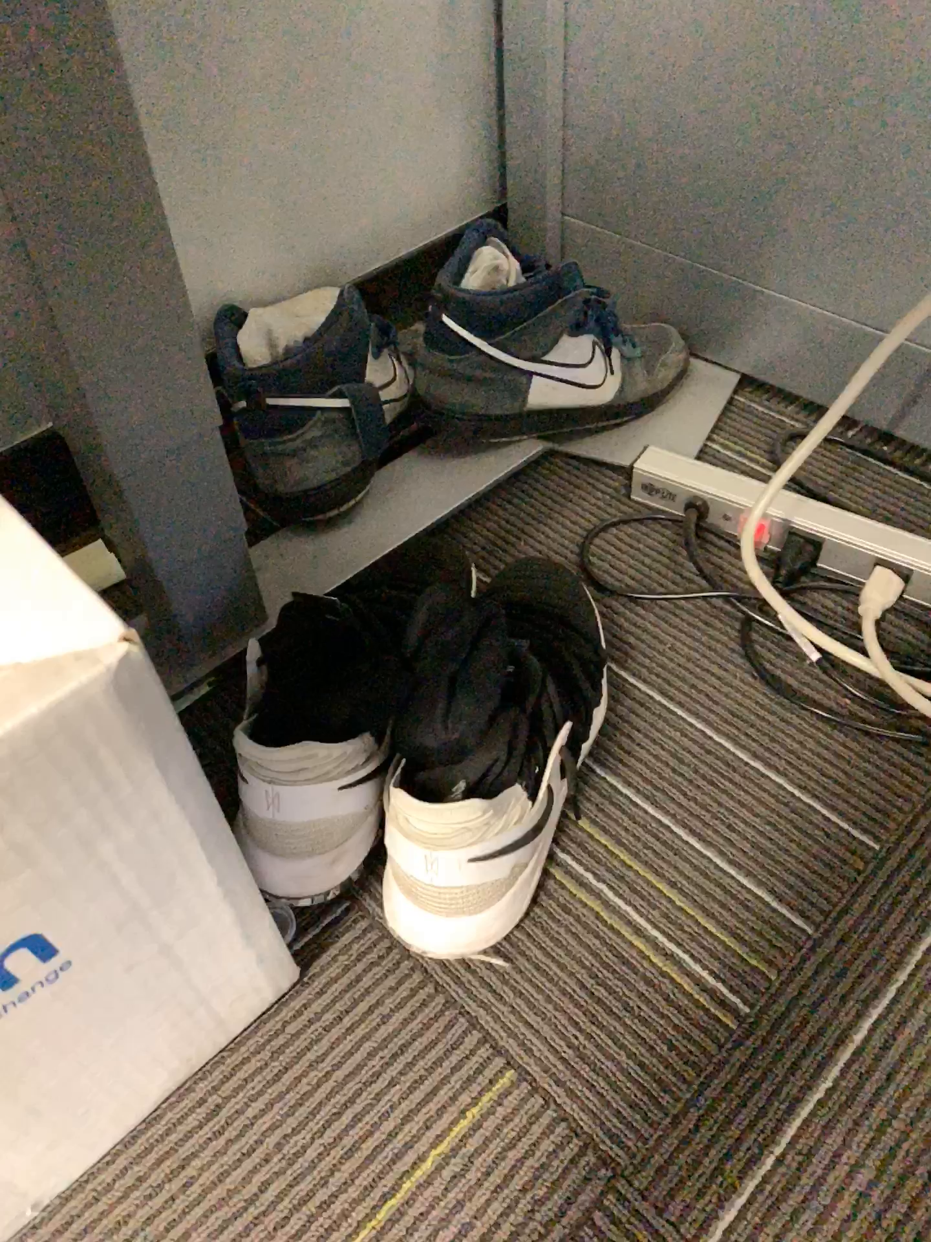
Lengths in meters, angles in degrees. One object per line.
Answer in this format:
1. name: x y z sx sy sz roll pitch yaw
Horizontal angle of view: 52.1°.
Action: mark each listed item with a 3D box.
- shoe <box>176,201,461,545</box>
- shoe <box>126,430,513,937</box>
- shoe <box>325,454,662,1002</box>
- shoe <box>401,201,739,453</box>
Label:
1. shoe: -0.109 -0.240 0.866 0.130 0.169 0.331 8 41 11
2. shoe: -0.069 0.025 0.619 0.100 0.129 0.301 15 50 17
3. shoe: 0.032 0.047 0.568 0.100 0.129 0.291 12 49 15
4. shoe: 0.085 -0.275 0.881 0.260 0.159 0.131 -11 46 -16
